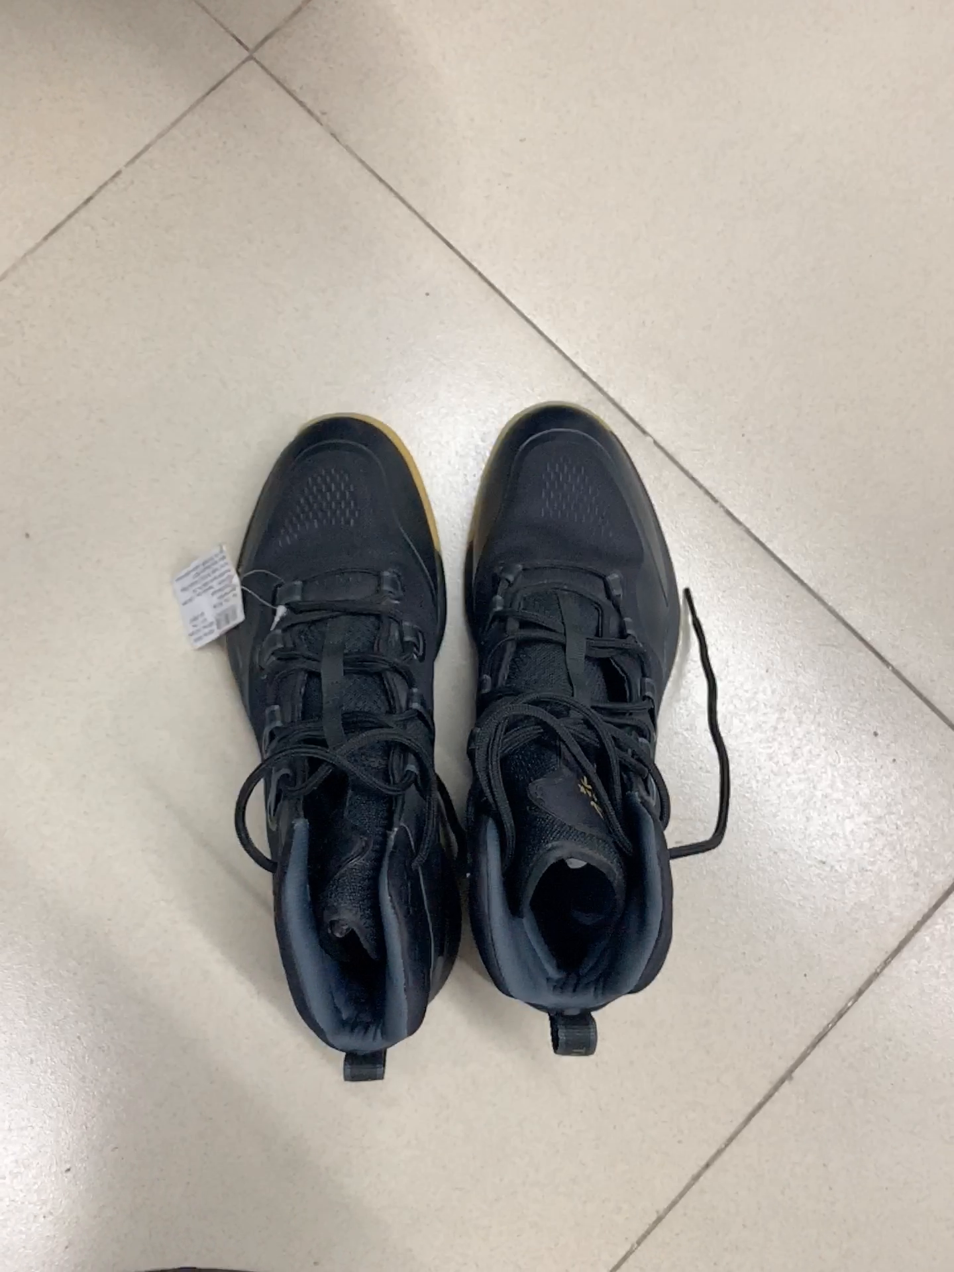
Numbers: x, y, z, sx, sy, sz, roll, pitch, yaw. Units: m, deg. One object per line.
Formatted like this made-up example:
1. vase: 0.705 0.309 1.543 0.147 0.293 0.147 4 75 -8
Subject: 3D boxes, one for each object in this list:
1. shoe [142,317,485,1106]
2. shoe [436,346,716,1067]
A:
1. shoe: -0.066 0.029 0.441 0.110 0.140 0.290 -5 84 -2
2. shoe: 0.041 0.028 0.444 0.110 0.090 0.290 2 84 -1
